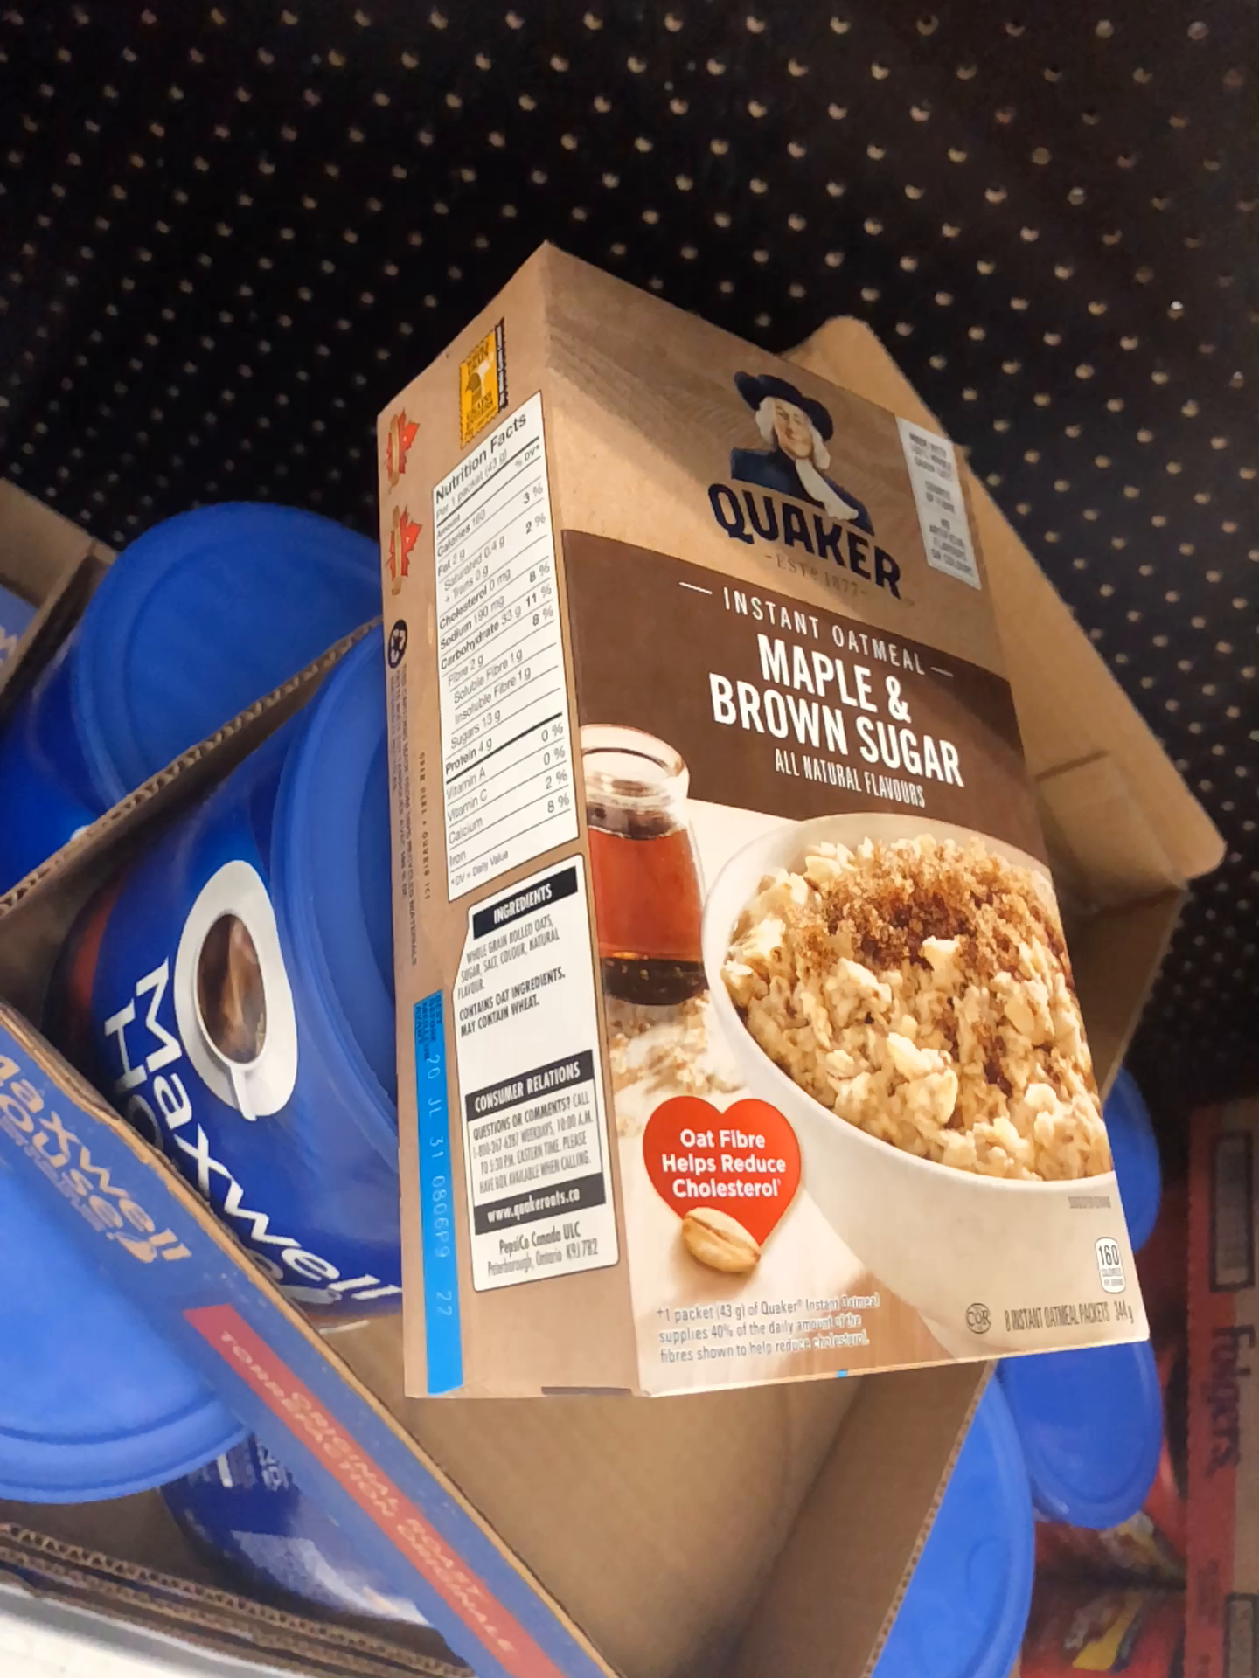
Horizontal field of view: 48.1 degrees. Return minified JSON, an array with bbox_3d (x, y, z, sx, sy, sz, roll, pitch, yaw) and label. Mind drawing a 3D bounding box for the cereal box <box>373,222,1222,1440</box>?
[{"bbox_3d":[0.029,0.005,0.285,0.141,0.070,0.200,11,66,-38],"label":"cereal box"}]
